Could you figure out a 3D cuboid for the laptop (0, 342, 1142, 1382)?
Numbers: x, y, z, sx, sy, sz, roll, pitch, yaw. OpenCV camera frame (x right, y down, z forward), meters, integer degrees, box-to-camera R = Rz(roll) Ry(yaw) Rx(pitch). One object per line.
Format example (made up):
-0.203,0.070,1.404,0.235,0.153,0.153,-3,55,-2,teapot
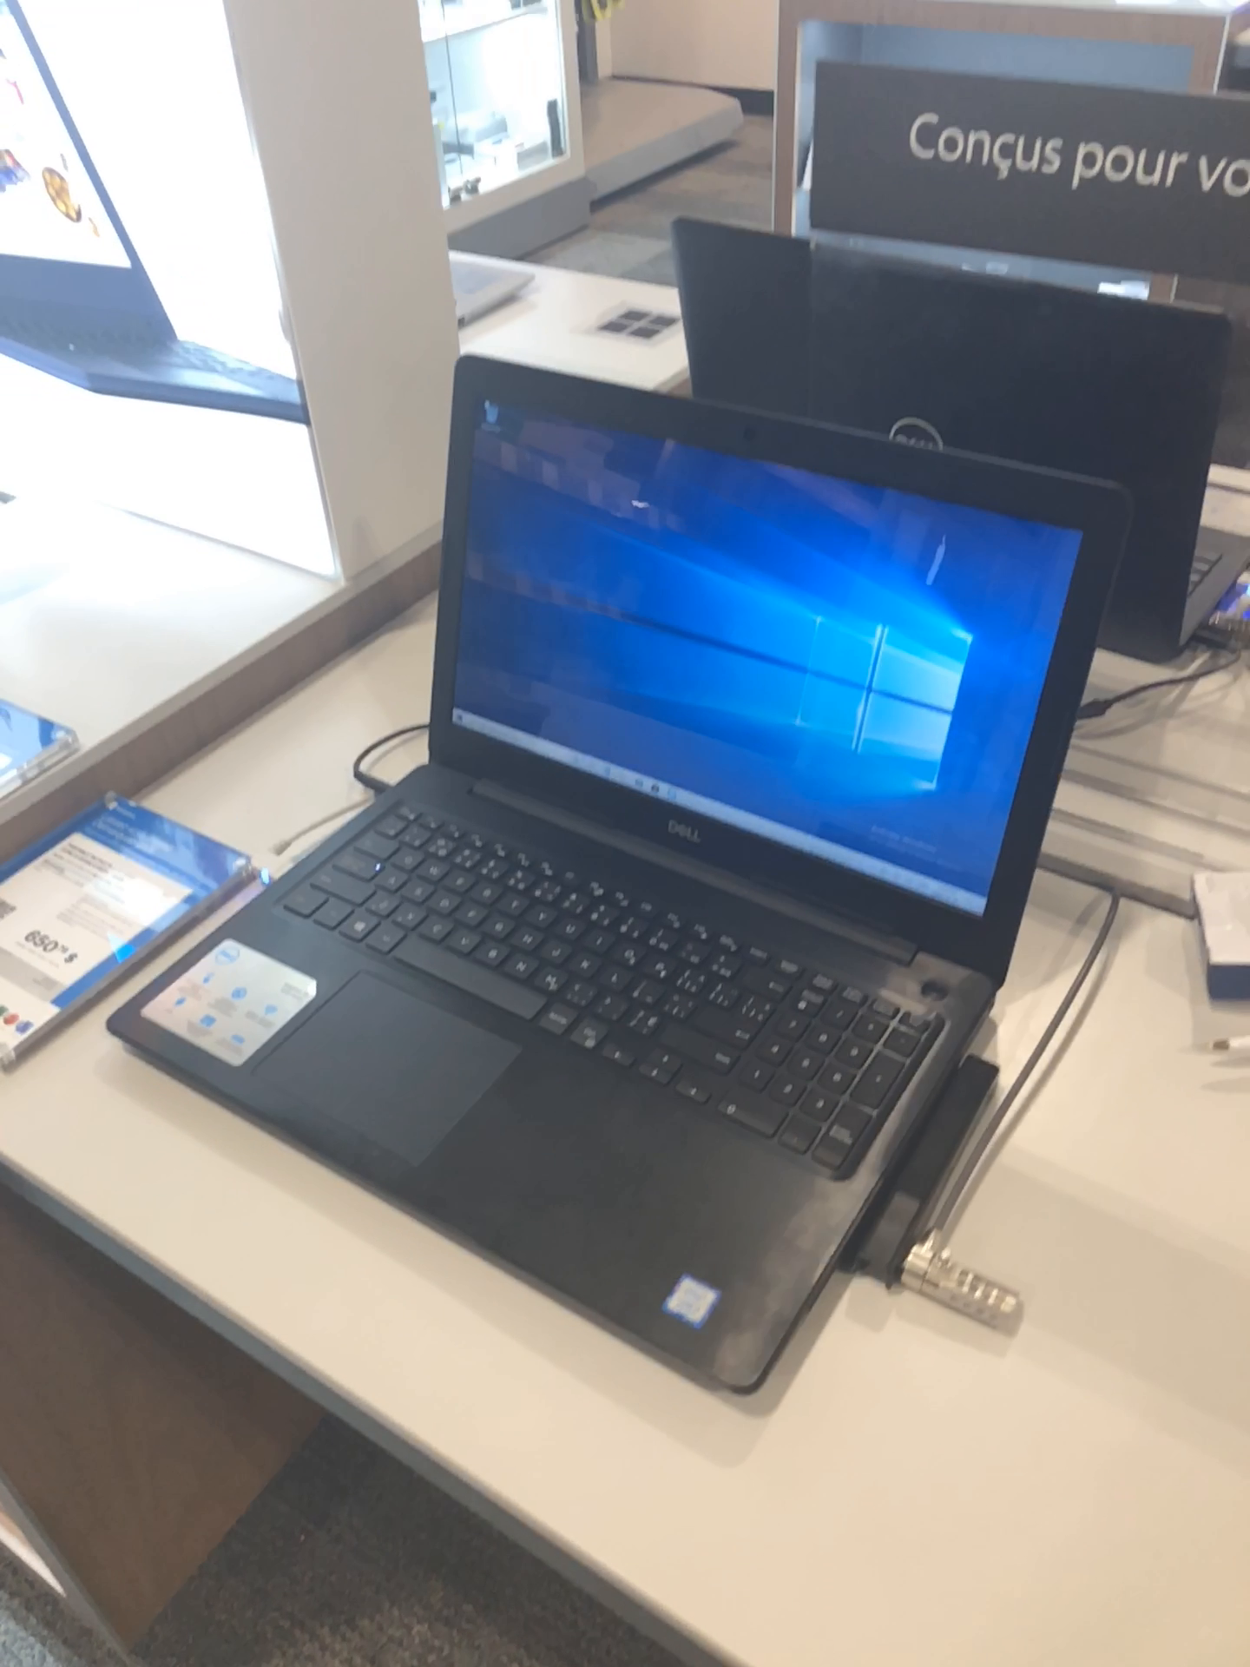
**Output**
-0.016,-0.031,0.642,0.364,0.224,0.336,21,47,28,laptop
